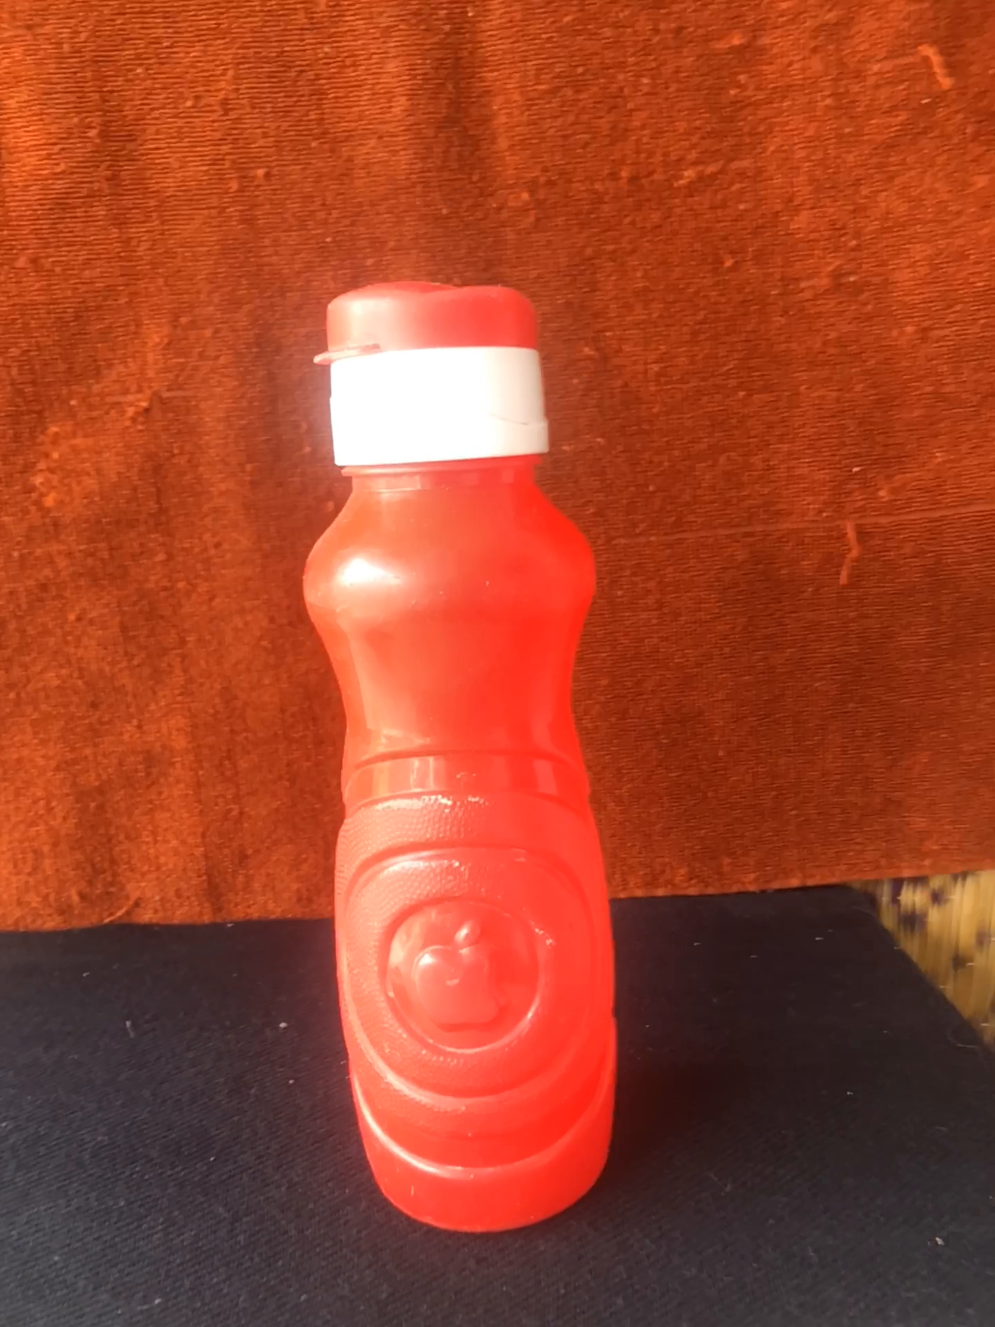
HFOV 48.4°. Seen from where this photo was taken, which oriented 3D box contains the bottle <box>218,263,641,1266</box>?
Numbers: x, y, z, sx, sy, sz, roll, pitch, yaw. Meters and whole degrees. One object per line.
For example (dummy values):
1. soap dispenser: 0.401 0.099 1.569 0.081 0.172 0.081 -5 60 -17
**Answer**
1. bottle: -0.006 0.024 0.270 0.080 0.219 0.070 0 13 8
